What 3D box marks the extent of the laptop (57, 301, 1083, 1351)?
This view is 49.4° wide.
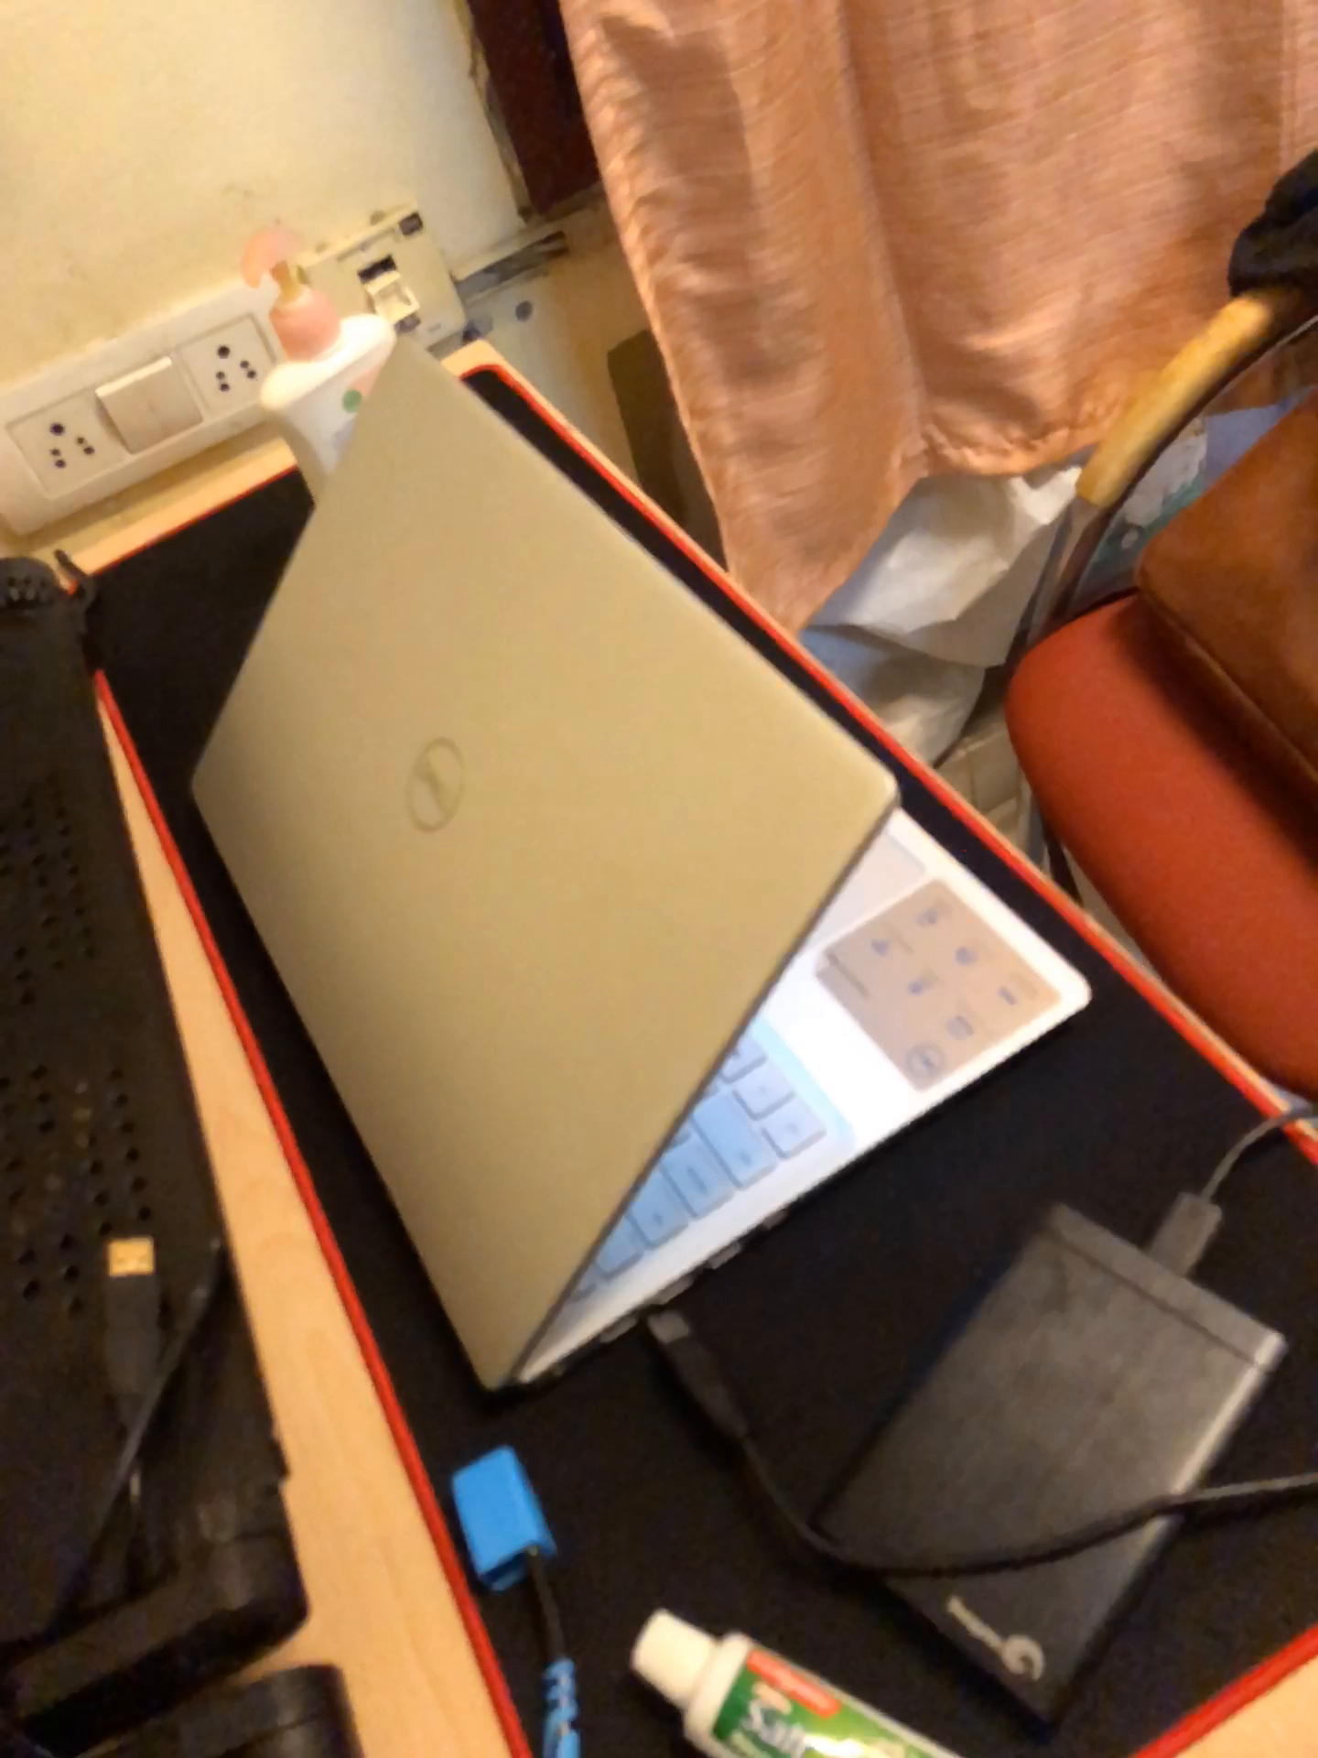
[{"bbox_3d":[-0.047,-0.051,0.542,0.218,0.140,0.352,-31,49,-11],"label":"laptop"}]
